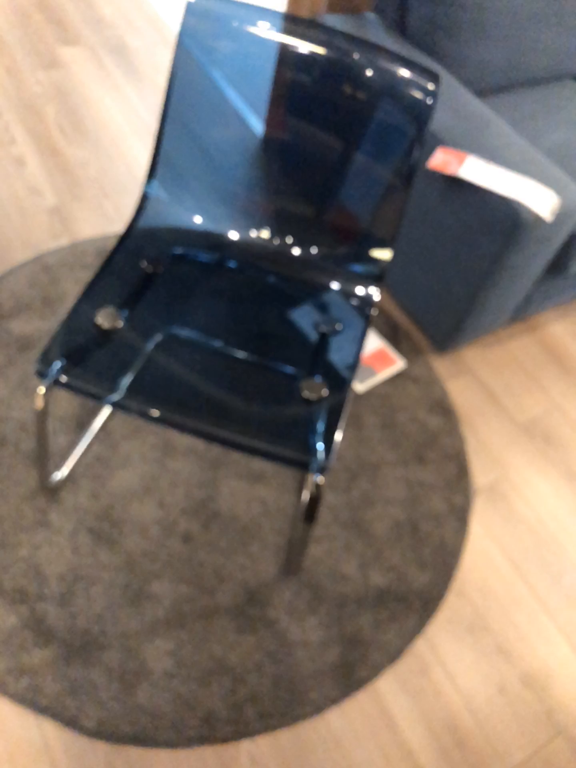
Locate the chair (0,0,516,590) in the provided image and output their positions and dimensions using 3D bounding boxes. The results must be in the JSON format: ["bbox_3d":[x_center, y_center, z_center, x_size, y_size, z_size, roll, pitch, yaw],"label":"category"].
[{"bbox_3d":[-0.083,-0.118,1.155,0.580,0.867,0.502,19,51,1],"label":"chair"}]
